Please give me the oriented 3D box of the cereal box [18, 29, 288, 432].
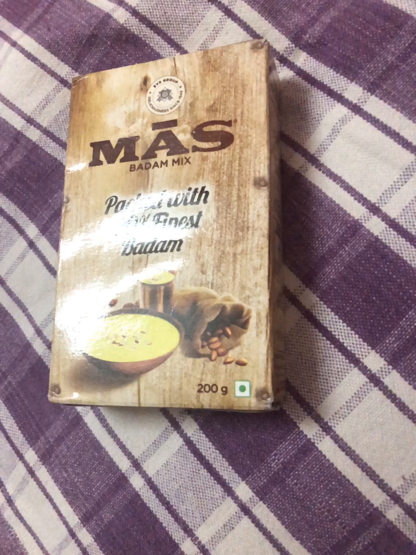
[{"bbox_3d":[-0.018,-0.015,0.174,0.090,0.030,0.130,-2,80,18],"label":"cereal box"}]
